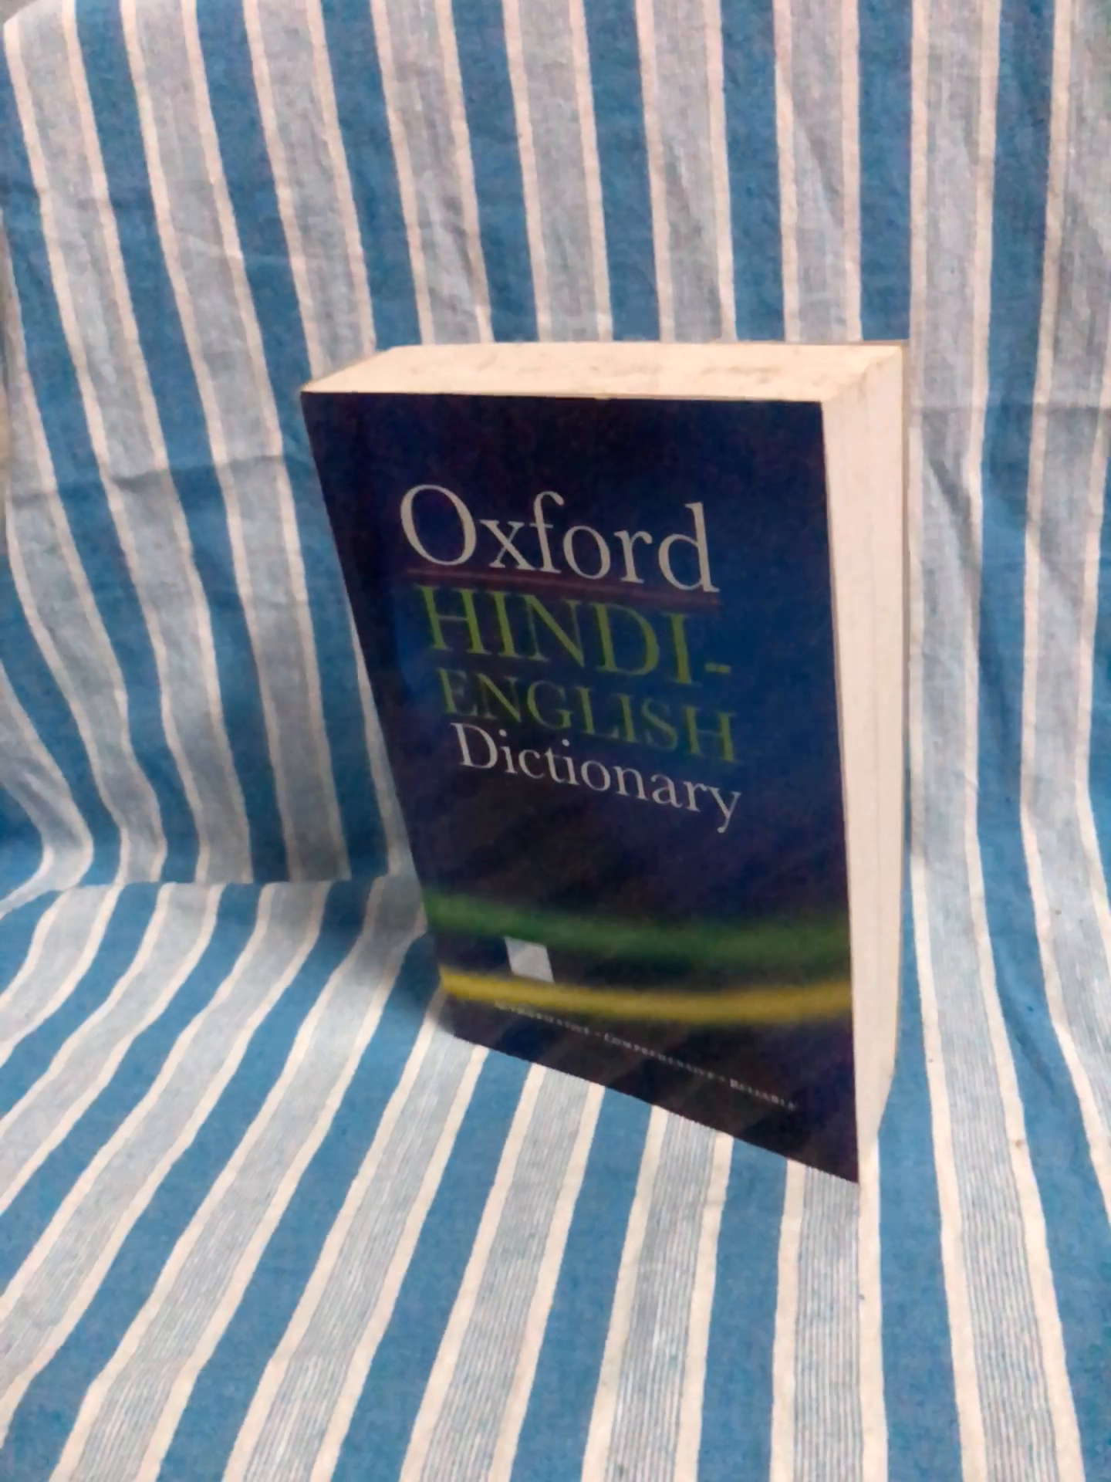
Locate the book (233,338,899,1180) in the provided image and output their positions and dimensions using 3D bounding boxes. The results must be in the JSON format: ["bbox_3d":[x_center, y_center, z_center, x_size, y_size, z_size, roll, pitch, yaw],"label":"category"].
[{"bbox_3d":[0.012,0.004,0.319,0.140,0.199,0.050,11,37,30],"label":"book"}]
